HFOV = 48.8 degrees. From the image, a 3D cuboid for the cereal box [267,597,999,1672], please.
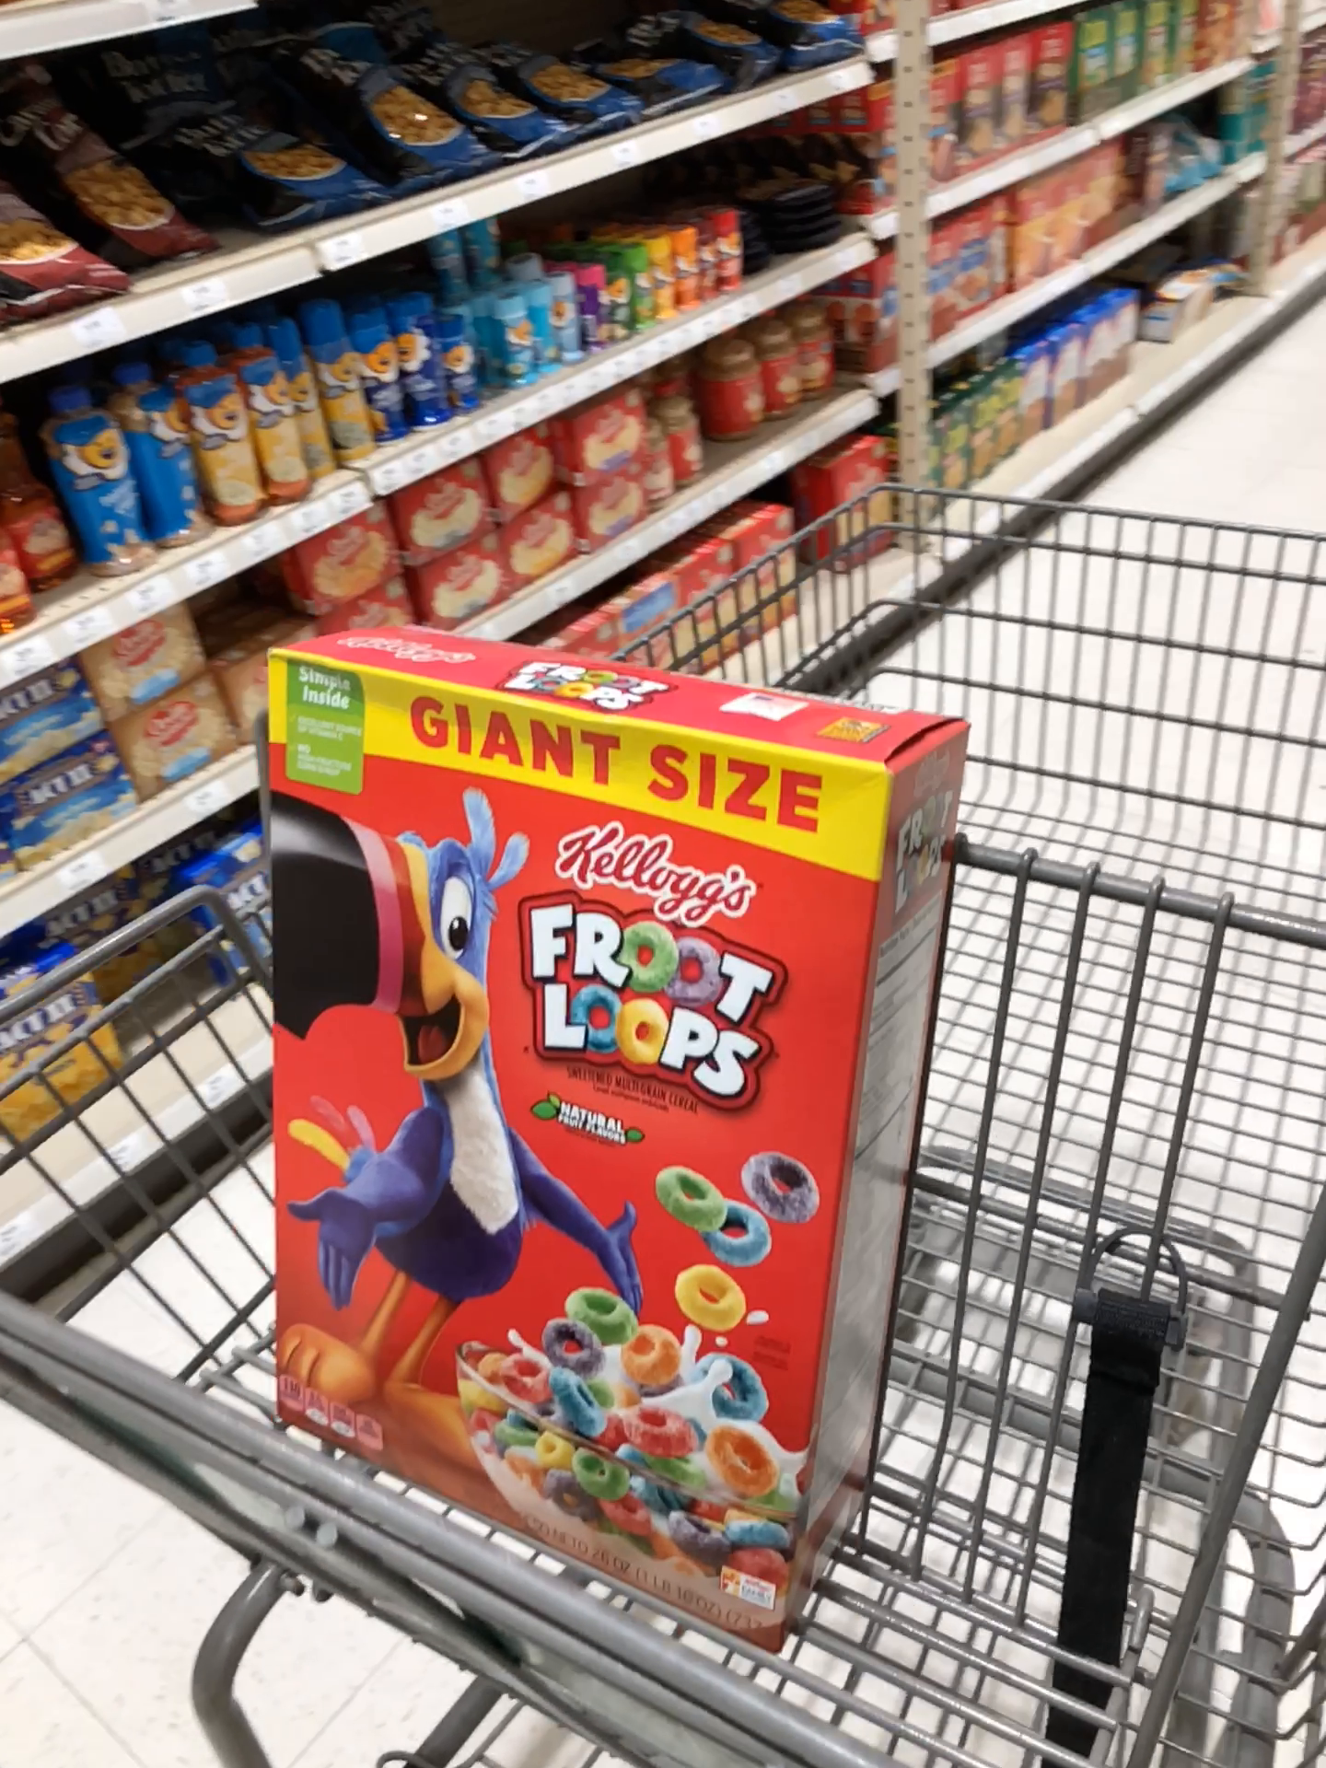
[{"bbox_3d":[-0.031,0.090,0.599,0.260,0.369,0.090,14,20,25],"label":"cereal box"}]
